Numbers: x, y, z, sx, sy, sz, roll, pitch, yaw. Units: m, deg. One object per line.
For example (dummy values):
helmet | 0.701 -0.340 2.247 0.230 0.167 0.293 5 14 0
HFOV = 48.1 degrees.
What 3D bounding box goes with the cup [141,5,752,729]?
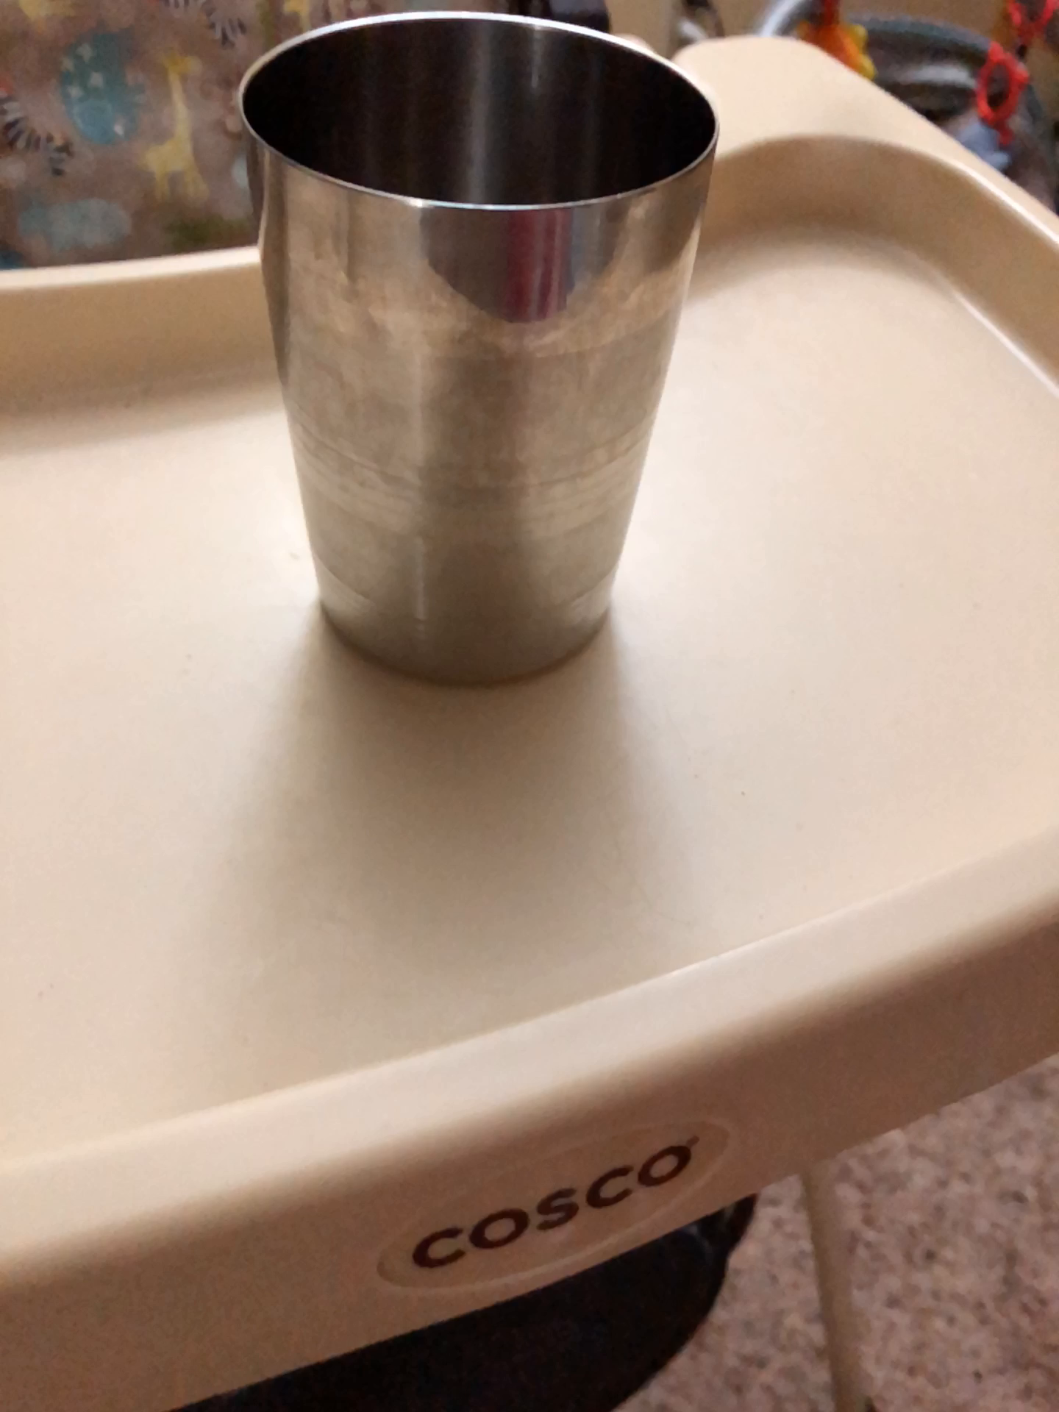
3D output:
cup | -0.018 -0.059 0.211 0.073 0.090 0.073 2 49 -3
